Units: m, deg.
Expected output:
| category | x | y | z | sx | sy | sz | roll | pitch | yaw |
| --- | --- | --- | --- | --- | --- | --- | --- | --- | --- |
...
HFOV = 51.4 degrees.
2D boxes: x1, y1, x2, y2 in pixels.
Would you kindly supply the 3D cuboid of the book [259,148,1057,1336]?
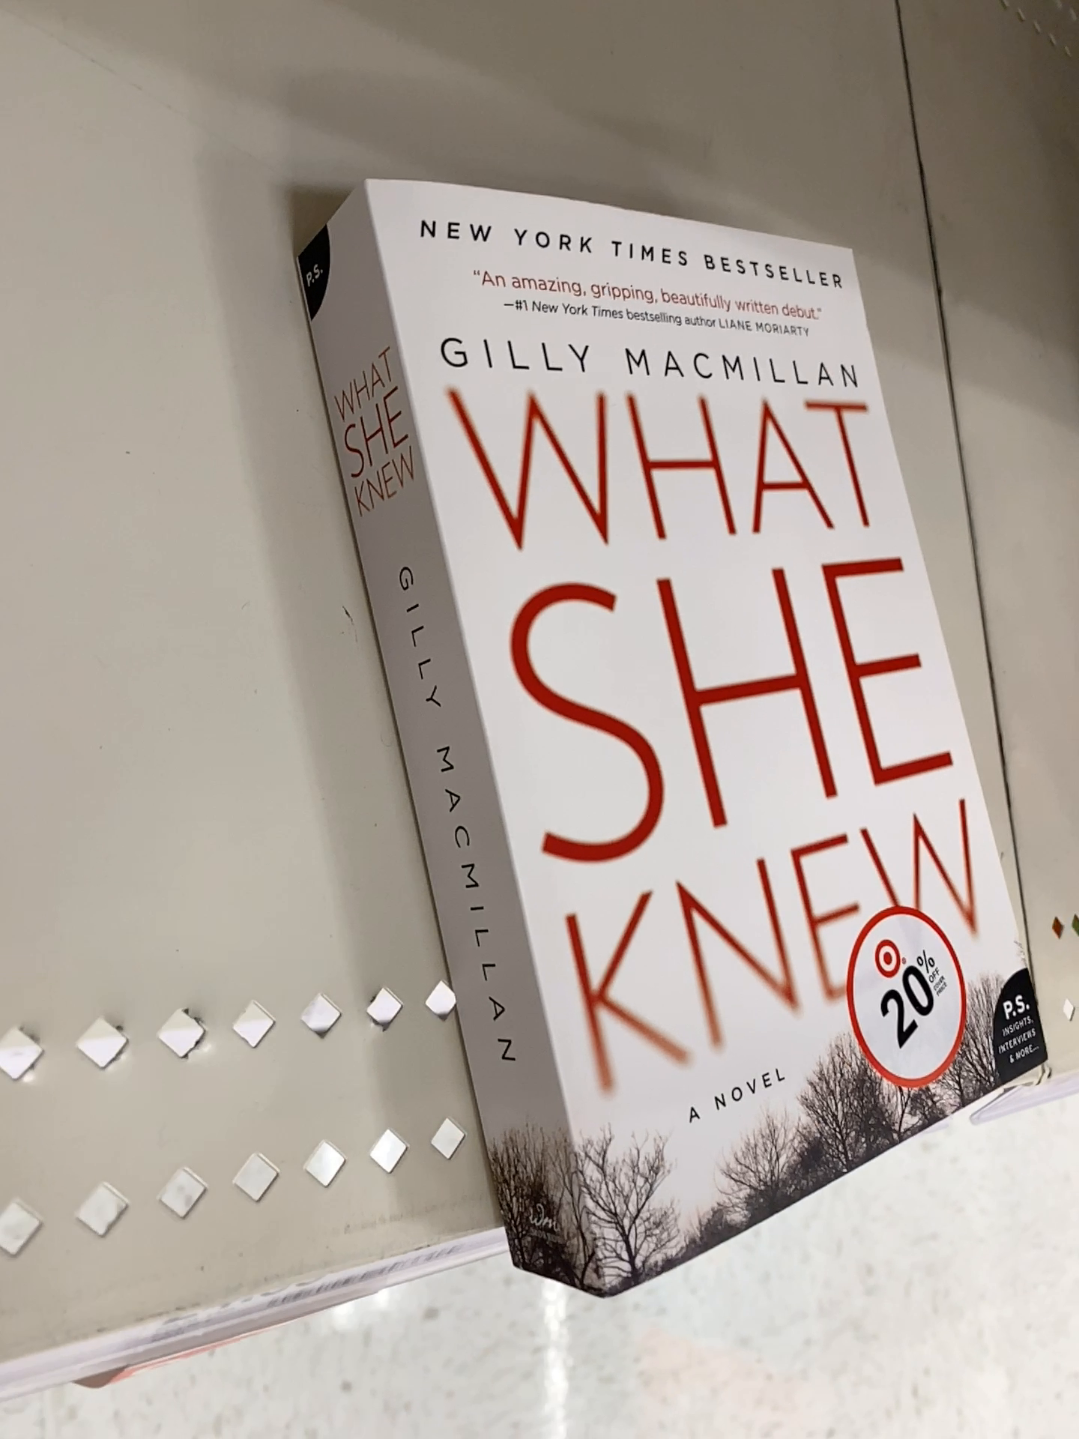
| category | x | y | z | sx | sy | sz | roll | pitch | yaw |
| --- | --- | --- | --- | --- | --- | --- | --- | --- | --- |
| book | 0.030 | -0.005 | 0.236 | 0.130 | 0.041 | 0.197 | -10 | 85 | -35 |
